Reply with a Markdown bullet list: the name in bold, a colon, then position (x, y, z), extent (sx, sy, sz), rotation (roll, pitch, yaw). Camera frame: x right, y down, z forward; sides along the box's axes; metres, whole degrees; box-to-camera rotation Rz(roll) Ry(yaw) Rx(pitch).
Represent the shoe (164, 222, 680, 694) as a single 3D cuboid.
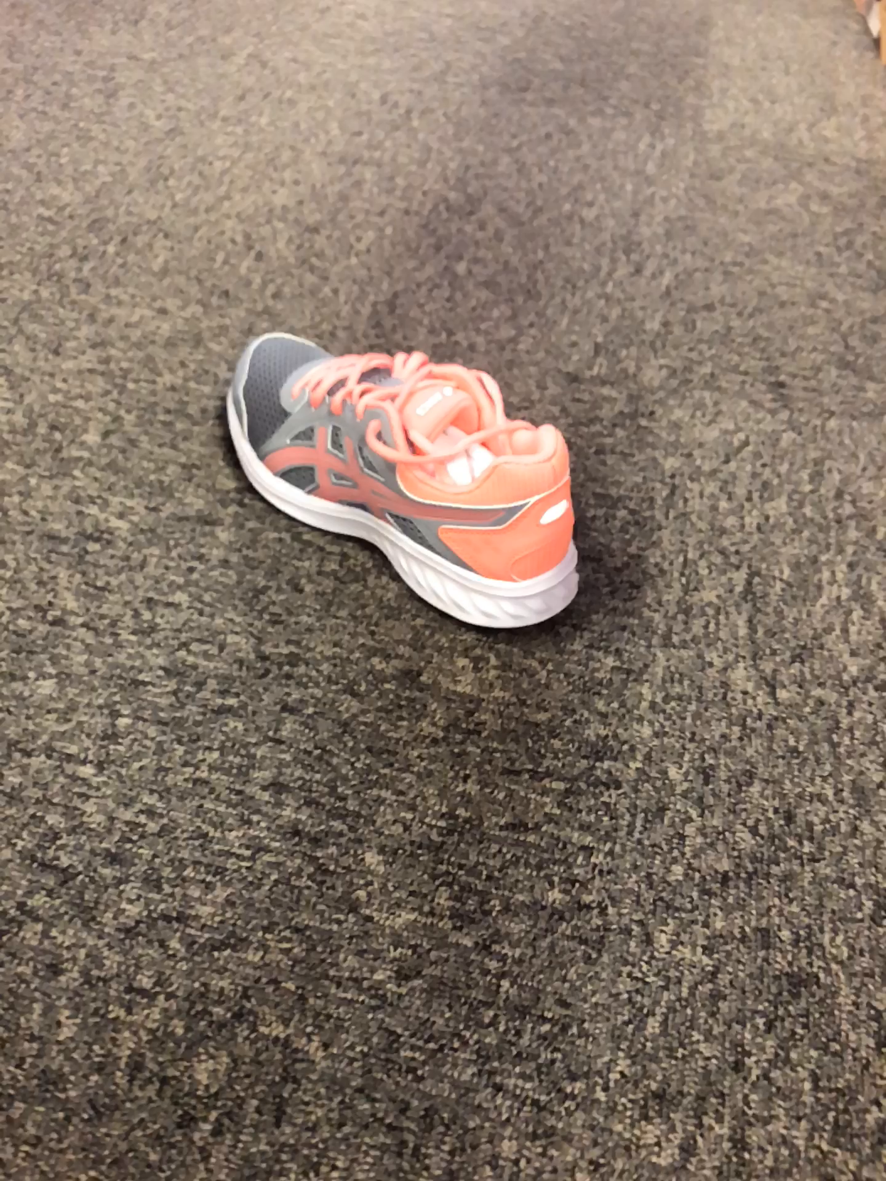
- **shoe**: position (-0.021, -0.082, 0.521), extent (0.250, 0.109, 0.111), rotation (37, 53, 27)
